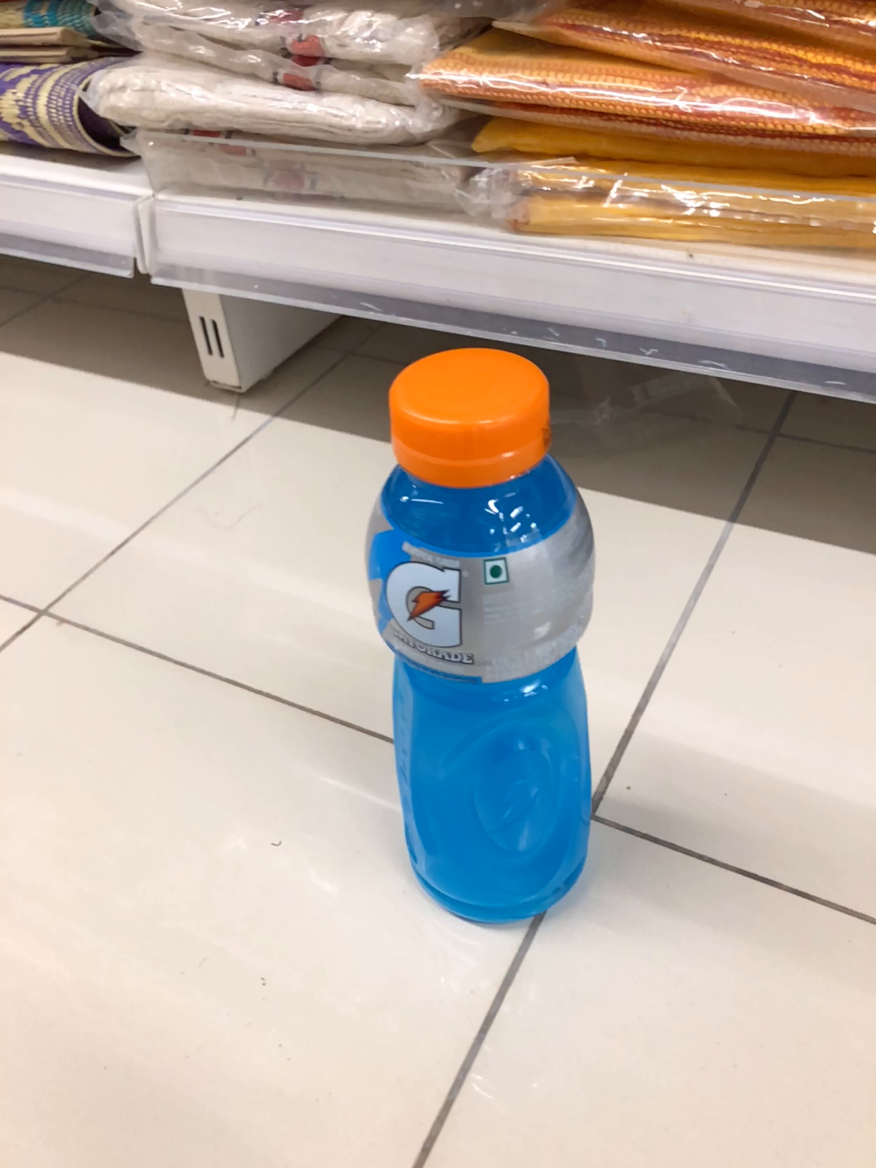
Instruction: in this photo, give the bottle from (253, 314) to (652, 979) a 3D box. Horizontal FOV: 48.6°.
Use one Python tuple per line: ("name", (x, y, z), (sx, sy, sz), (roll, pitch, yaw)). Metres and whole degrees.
("bottle", (0.012, 0.027, 0.299), (0.070, 0.189, 0.070), (-4, 40, 3))
